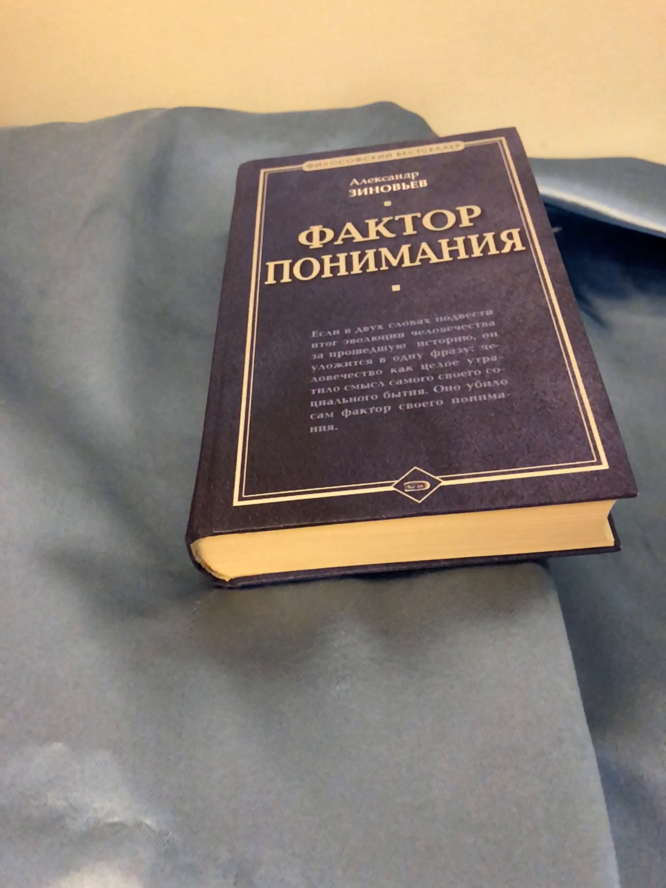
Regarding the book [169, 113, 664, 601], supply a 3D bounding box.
[{"bbox_3d":[0.023,-0.052,0.297,0.140,0.040,0.221,-6,49,7],"label":"book"}]
